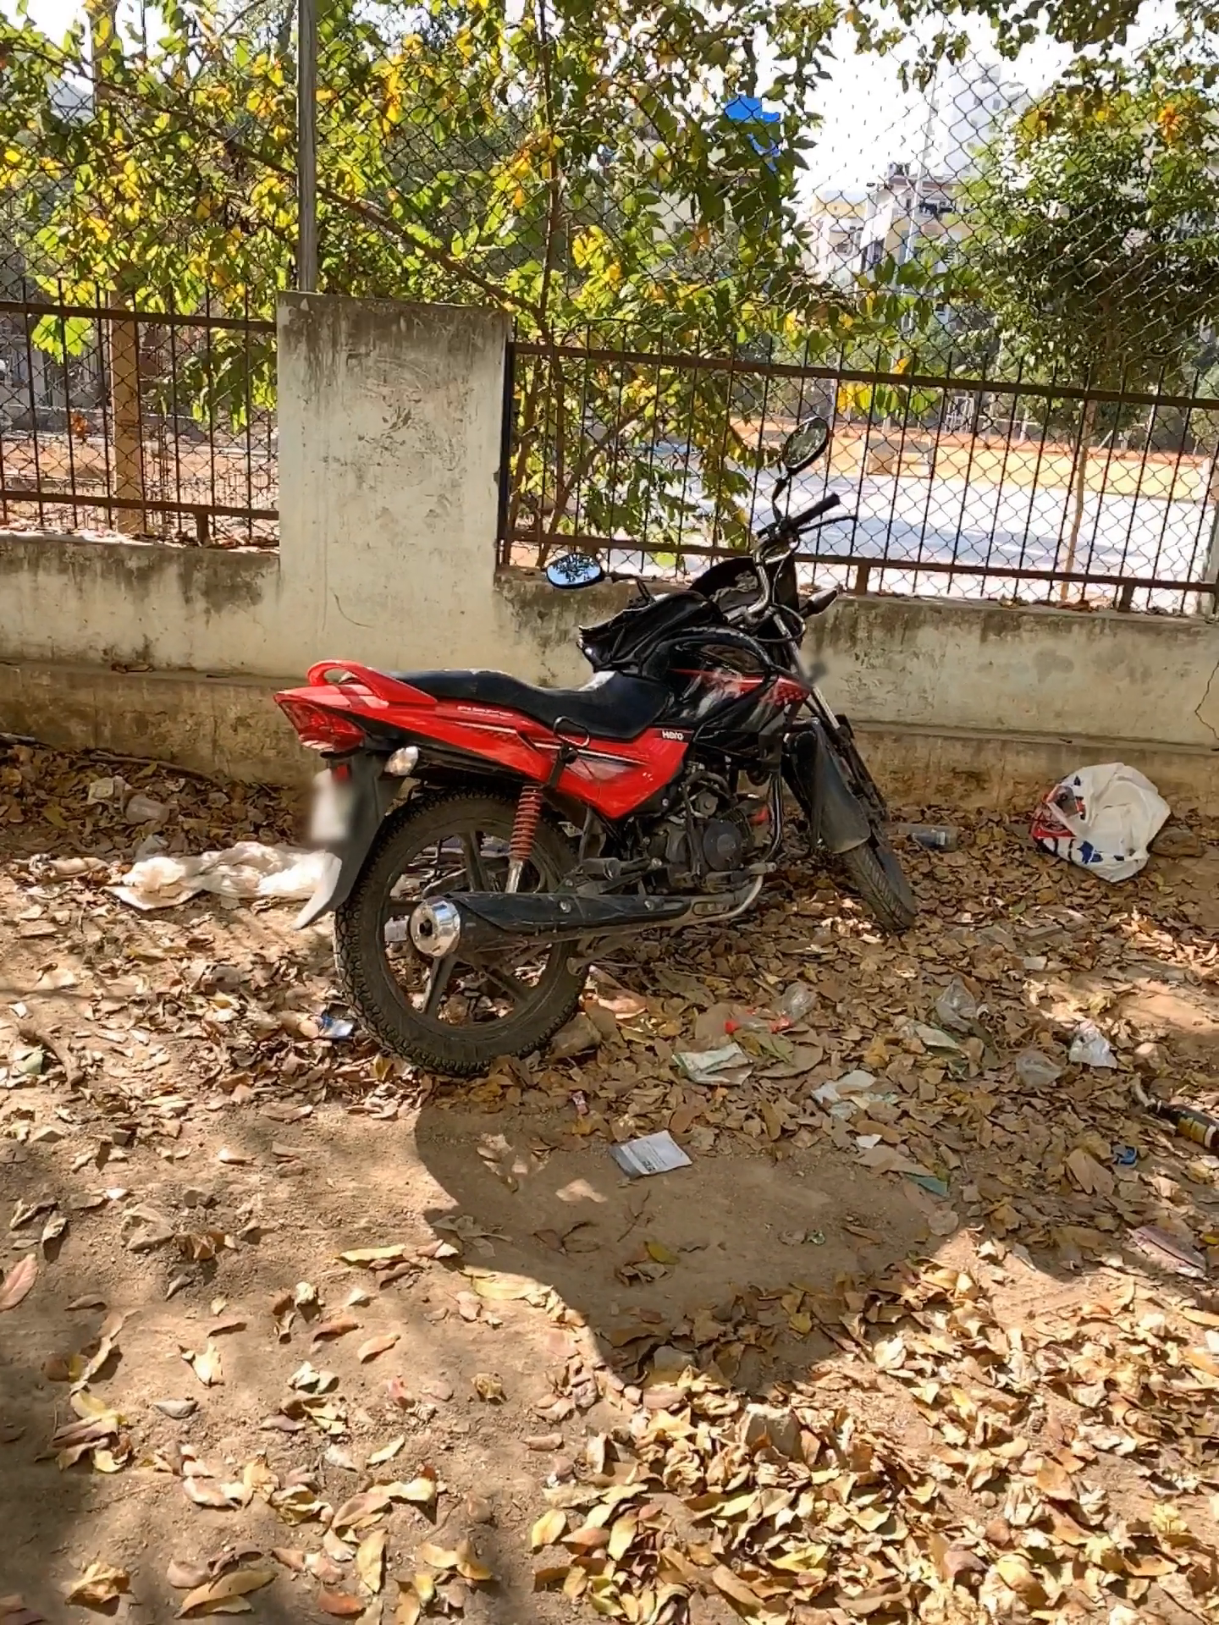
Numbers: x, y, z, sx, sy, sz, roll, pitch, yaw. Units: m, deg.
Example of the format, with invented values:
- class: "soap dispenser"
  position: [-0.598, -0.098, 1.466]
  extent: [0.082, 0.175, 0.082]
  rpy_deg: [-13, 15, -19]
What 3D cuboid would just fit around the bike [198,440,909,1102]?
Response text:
- class: "bike"
  position: [-0.129, -0.229, 2.857]
  extent: [1.292, 1.068, 0.824]
  rpy_deg: [-15, 27, -39]
